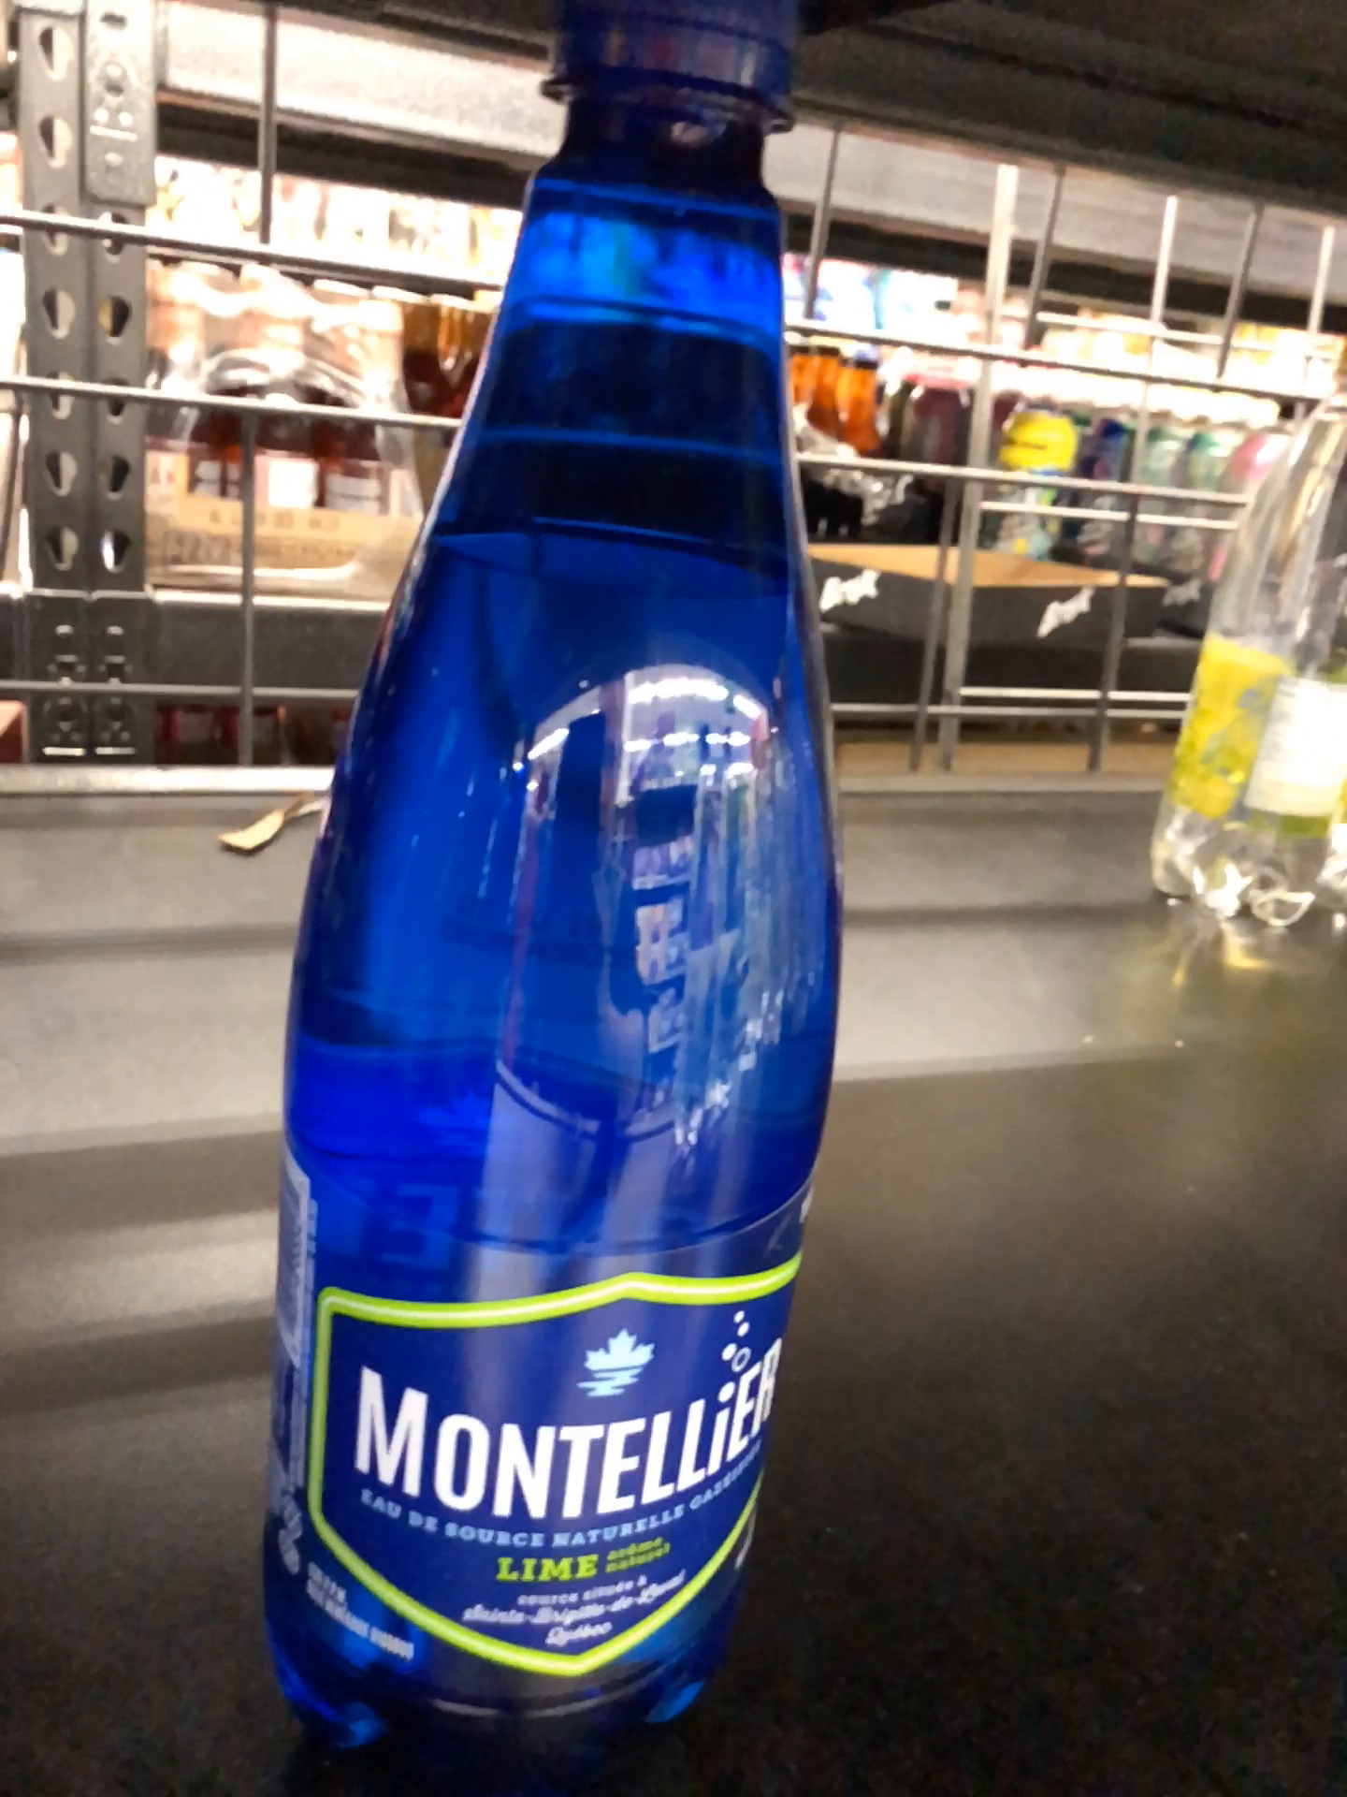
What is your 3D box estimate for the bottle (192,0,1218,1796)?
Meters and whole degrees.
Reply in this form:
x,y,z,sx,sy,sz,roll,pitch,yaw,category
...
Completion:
x,y,z,sx,sy,sz,roll,pitch,yaw,category
-0.019,0.003,0.236,0.100,0.288,0.091,-1,22,-21,bottle
